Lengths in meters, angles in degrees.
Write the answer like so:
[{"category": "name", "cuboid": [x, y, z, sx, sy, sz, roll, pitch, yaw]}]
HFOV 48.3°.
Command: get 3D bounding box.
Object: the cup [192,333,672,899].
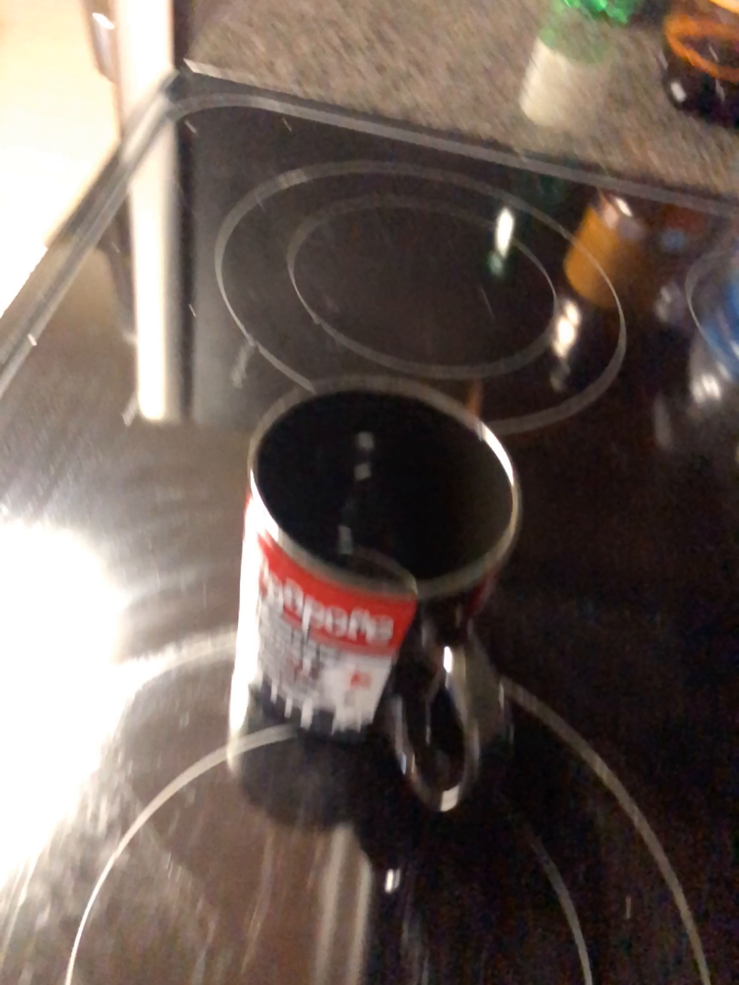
[{"category": "cup", "cuboid": [0.003, 0.032, 0.253, 0.090, 0.090, 0.130, -9, 53, -19]}]
